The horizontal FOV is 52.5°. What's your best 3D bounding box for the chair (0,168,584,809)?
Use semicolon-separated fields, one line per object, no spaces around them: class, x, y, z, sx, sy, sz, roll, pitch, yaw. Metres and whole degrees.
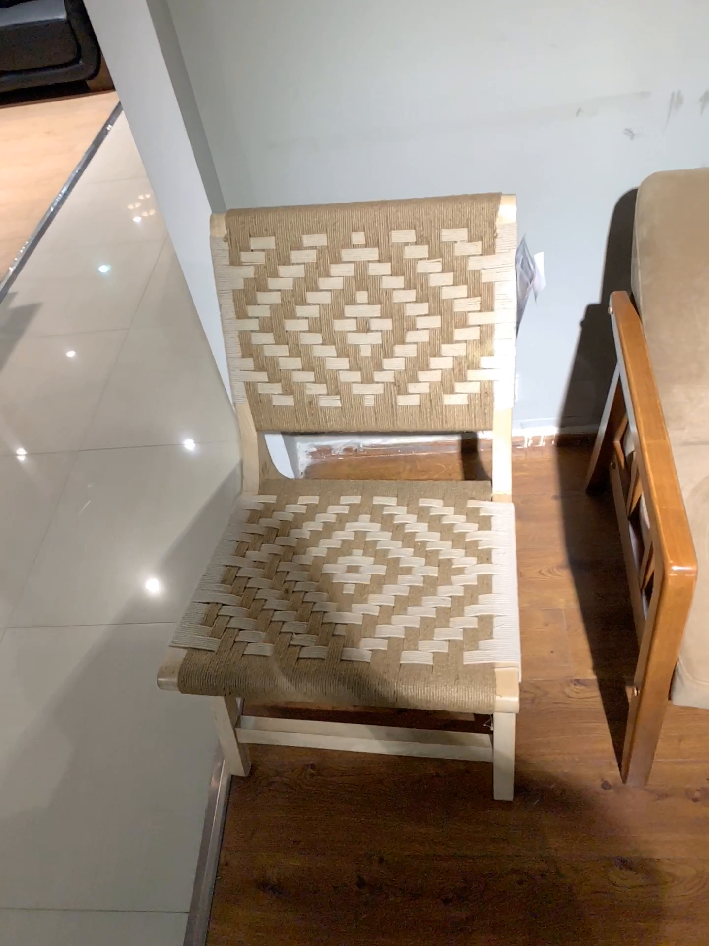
chair;0.004;0.064;1.247;0.630;0.847;0.662;0;48;11
